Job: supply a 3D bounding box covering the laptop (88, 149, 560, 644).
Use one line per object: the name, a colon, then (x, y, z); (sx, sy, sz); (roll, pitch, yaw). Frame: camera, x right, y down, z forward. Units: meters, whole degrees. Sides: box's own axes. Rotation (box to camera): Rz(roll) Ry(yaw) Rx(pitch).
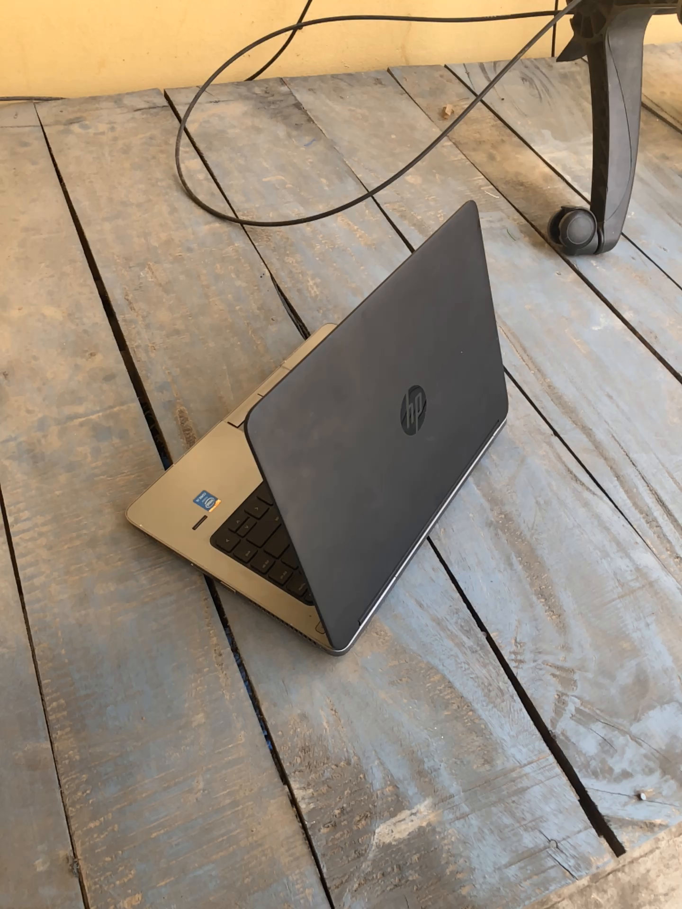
laptop: (0.000, -0.064, 0.624); (0.210, 0.196, 0.317); (28, 53, 17)
